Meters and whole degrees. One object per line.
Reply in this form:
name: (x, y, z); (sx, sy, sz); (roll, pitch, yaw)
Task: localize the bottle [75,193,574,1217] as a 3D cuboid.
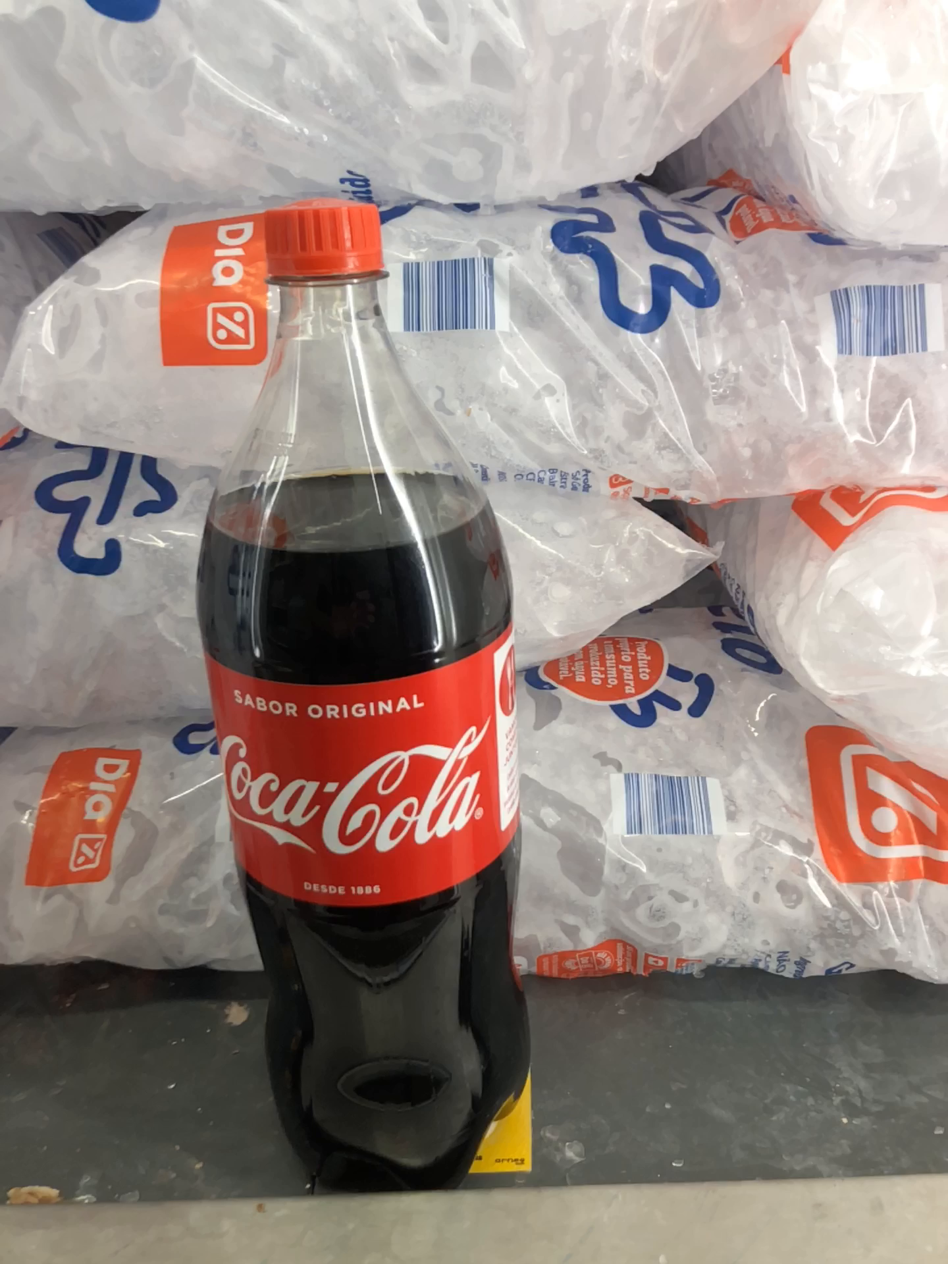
bottle: (-0.025, 0.029, 0.309); (0.100, 0.288, 0.081); (2, 24, 9)
